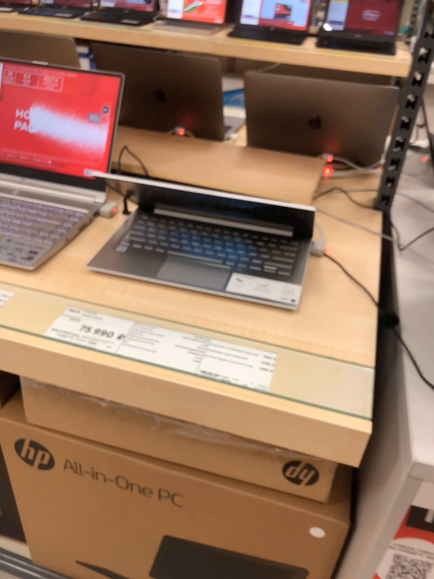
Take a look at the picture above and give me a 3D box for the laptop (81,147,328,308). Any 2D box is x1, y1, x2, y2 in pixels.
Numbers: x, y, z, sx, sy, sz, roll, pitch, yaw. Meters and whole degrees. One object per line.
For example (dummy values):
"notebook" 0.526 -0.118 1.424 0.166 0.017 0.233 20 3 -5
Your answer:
"laptop" -0.010 -0.105 0.723 0.309 0.119 0.198 11 35 12
